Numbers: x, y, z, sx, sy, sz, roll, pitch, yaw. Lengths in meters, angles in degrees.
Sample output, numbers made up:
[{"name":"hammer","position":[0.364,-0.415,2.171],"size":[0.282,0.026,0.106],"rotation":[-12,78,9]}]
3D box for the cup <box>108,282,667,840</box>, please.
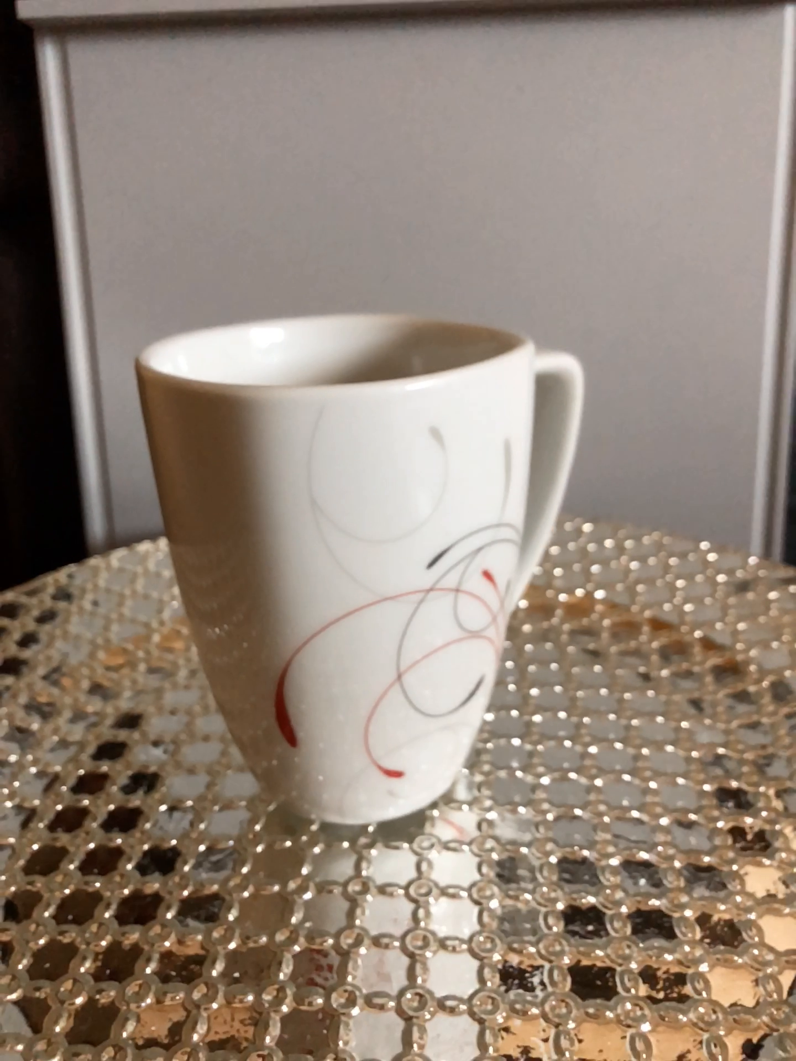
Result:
[{"name":"cup","position":[0.002,-0.006,0.236],"size":[0.110,0.100,0.080],"rotation":[-20,28,-40]}]
